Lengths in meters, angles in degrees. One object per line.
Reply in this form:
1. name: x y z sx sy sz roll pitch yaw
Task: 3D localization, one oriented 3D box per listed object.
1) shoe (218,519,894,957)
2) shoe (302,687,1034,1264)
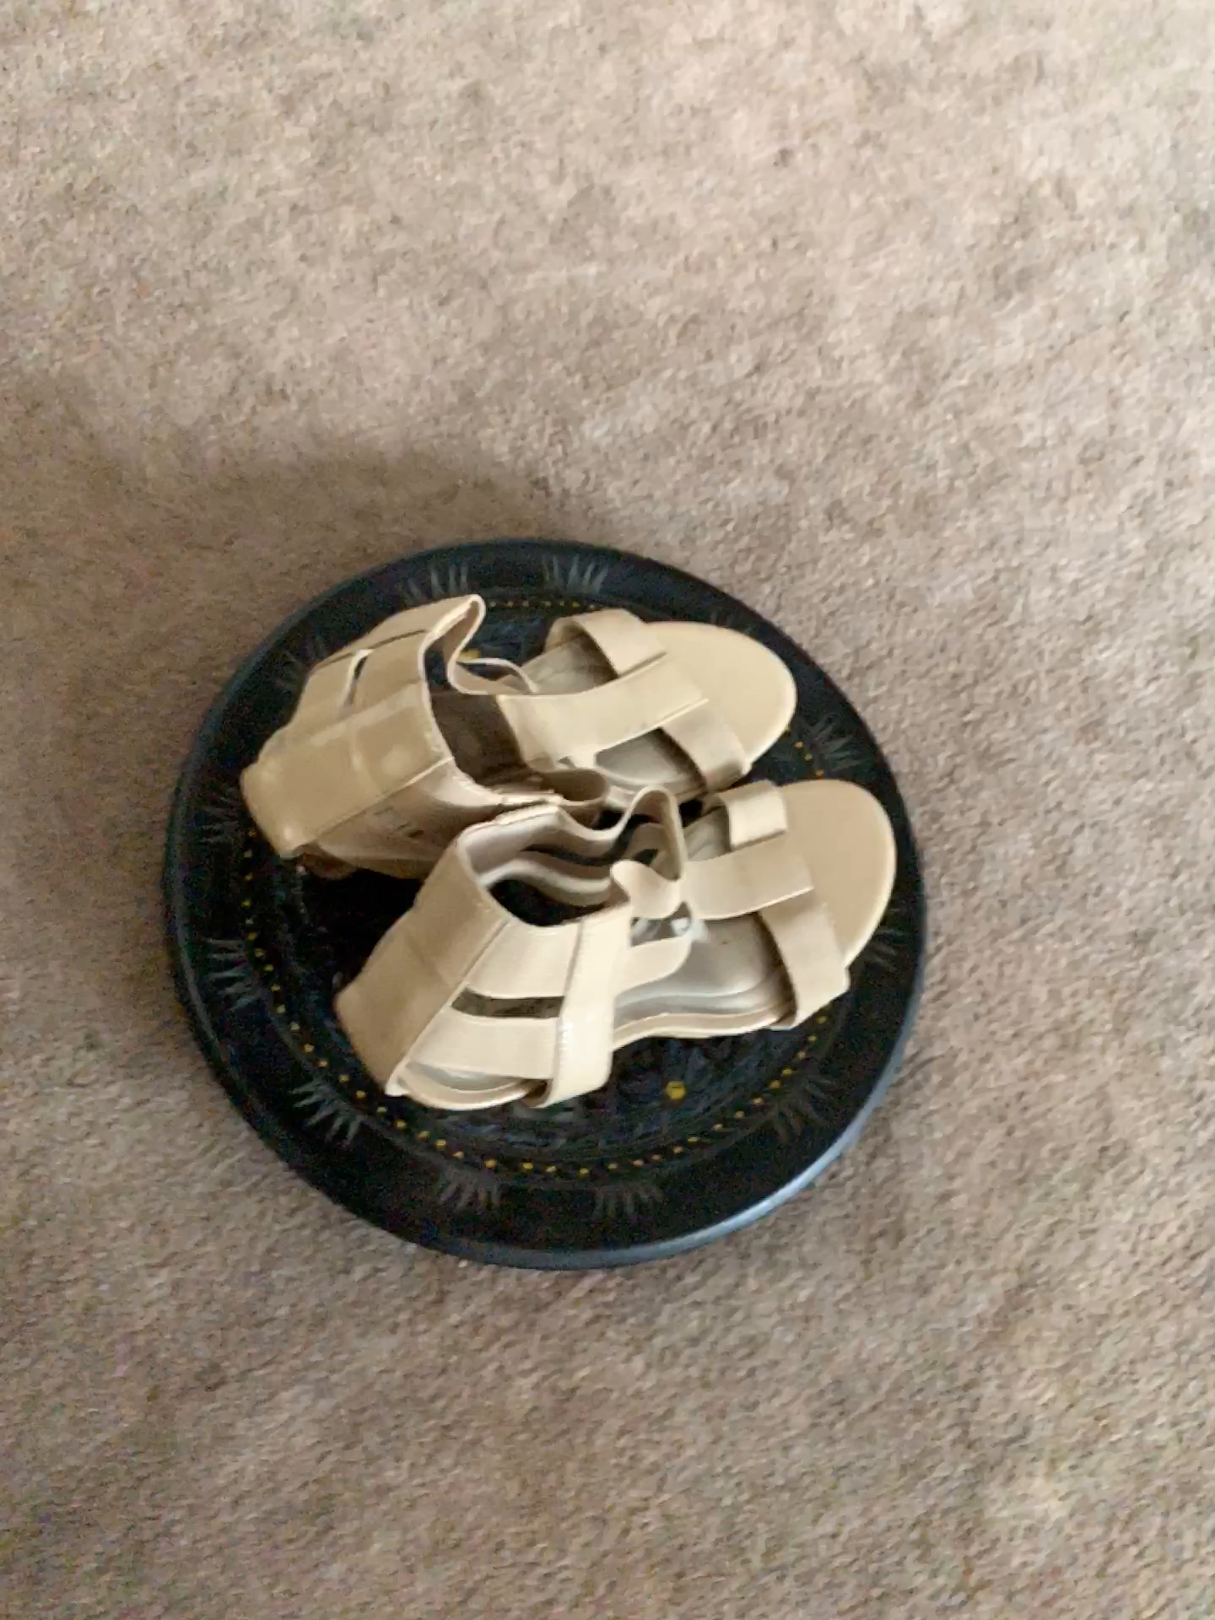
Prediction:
1. shoe: -0.015 -0.035 0.470 0.221 0.089 0.090 -16 69 -36
2. shoe: 0.027 0.045 0.445 0.231 0.089 0.100 -19 62 -37
